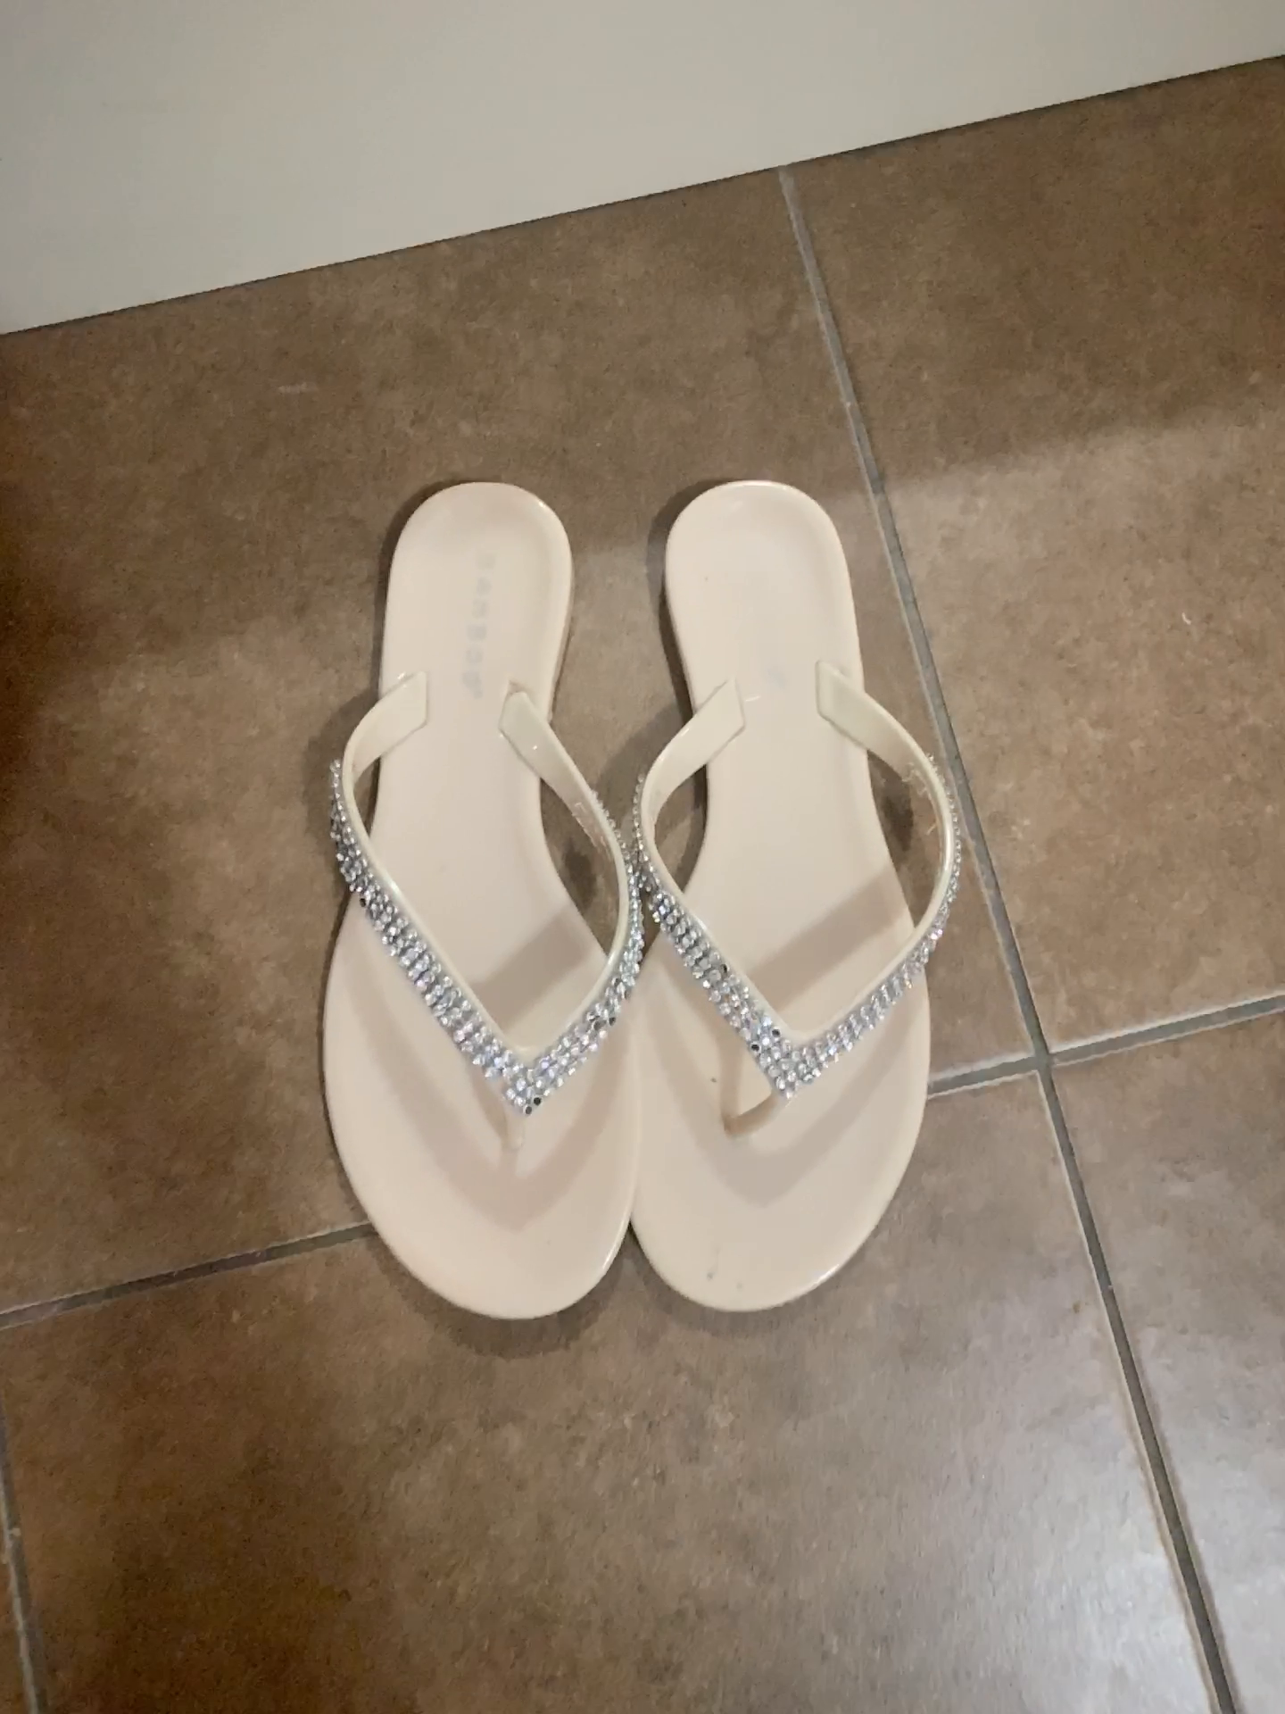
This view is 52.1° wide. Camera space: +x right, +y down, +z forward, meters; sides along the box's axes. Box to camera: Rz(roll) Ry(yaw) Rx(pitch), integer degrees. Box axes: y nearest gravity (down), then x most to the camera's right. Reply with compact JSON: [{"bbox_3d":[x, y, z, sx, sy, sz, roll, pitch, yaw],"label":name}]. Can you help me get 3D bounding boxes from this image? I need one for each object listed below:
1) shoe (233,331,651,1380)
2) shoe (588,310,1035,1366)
[{"bbox_3d":[-0.049,-0.003,0.346,0.093,0.067,0.249,-2,81,1],"label":"shoe"},{"bbox_3d":[0.037,-0.007,0.344,0.091,0.067,0.249,-2,81,1],"label":"shoe"}]
